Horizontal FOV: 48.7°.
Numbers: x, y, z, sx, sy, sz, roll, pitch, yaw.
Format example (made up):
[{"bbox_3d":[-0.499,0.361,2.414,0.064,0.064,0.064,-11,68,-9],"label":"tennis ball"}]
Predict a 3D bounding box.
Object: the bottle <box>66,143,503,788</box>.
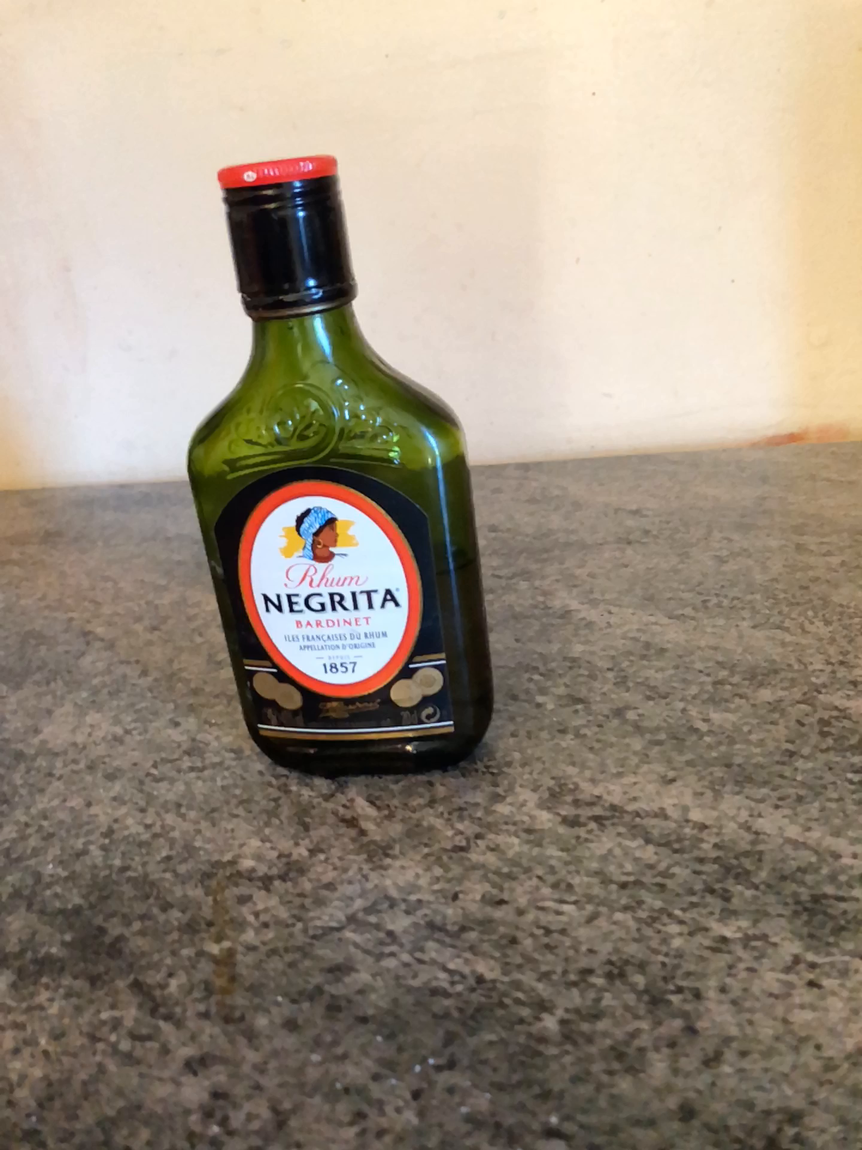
[{"bbox_3d":[-0.029,-0.024,0.256,0.080,0.159,0.050,-2,23,10],"label":"bottle"}]
